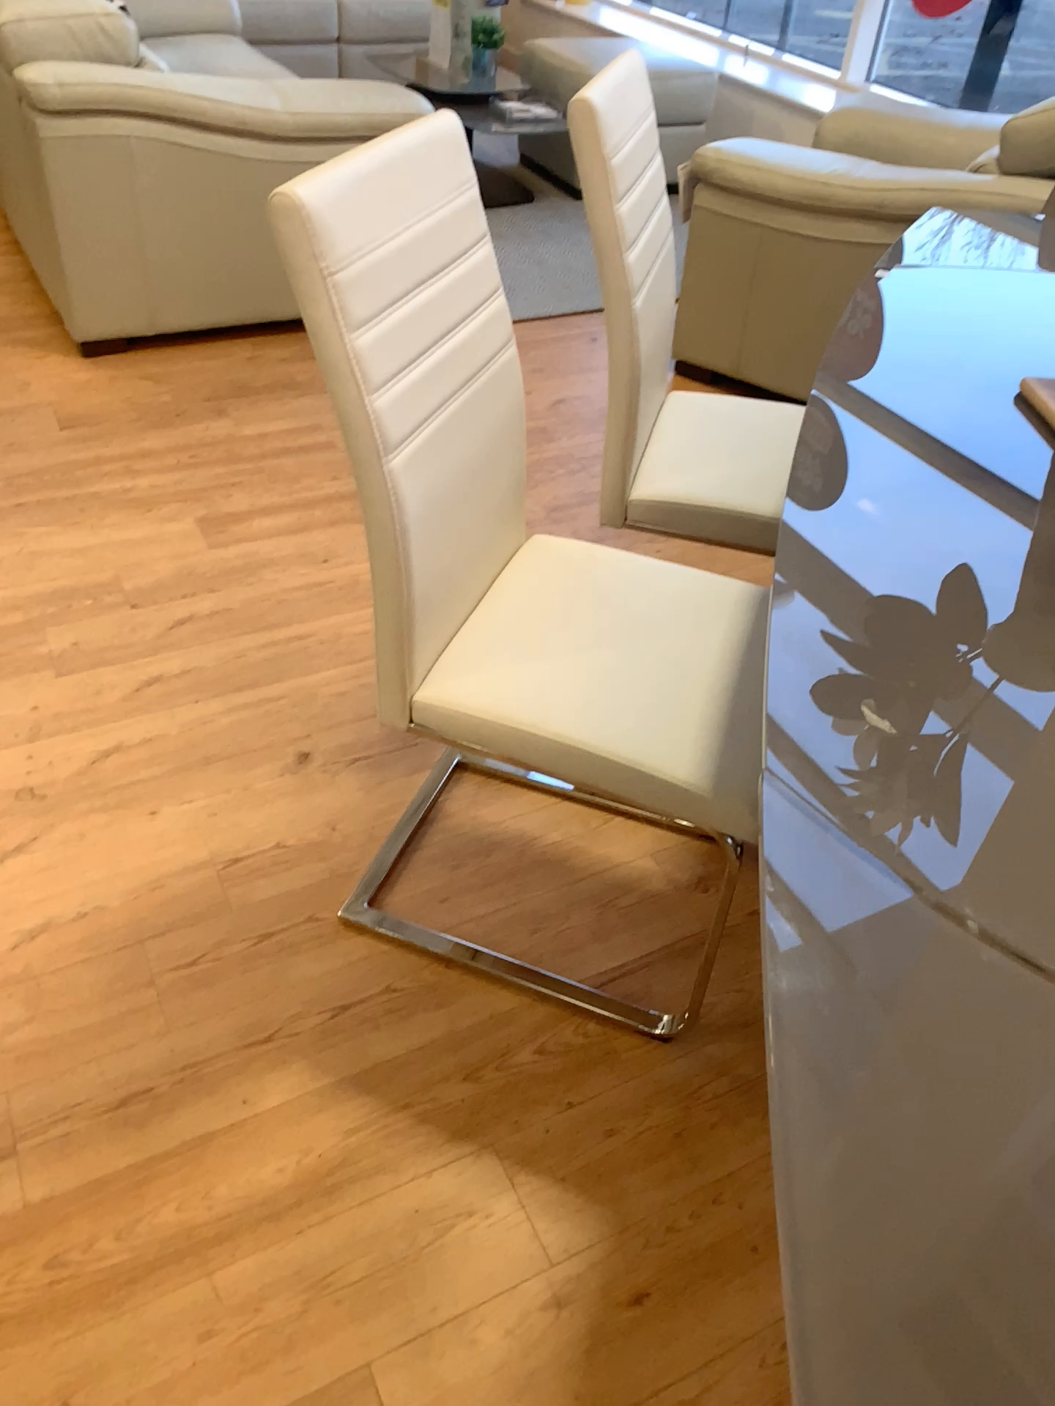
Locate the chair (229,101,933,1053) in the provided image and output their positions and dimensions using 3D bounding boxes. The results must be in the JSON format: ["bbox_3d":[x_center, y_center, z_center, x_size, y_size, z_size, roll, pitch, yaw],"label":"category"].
[{"bbox_3d":[0.045,-0.112,1.262,0.535,0.923,0.425,16,41,12],"label":"chair"}]

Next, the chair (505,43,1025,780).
[{"bbox_3d":[0.304,-0.420,1.666,0.525,0.933,0.435,13,40,8],"label":"chair"}]
